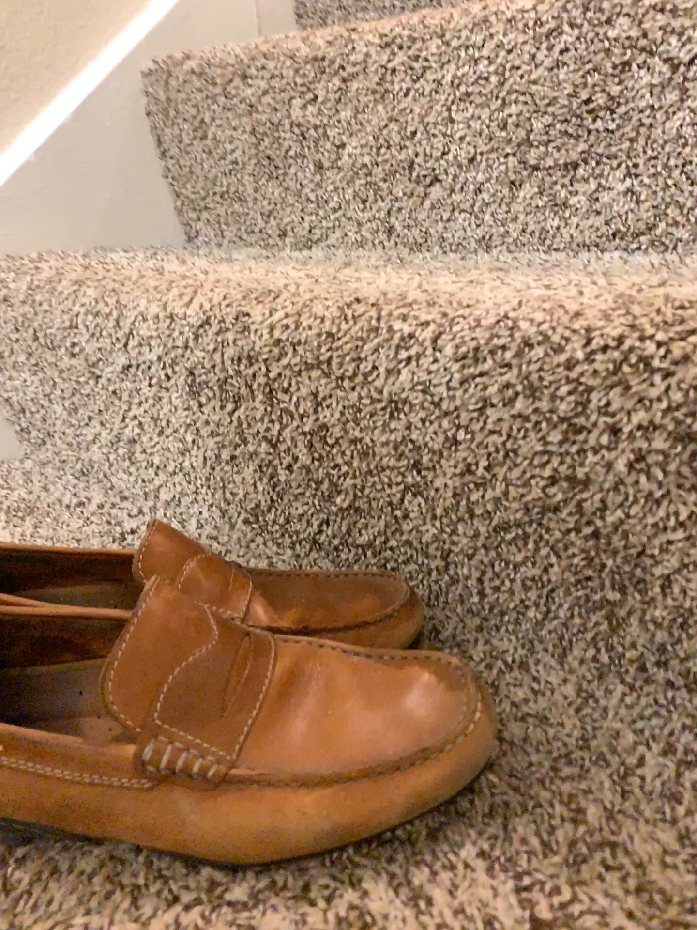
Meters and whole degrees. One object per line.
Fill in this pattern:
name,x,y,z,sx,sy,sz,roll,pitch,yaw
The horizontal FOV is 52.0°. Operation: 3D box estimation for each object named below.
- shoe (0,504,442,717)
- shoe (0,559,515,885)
shoe,-0.095,0.071,0.377,0.280,0.070,0.090,0,20,4
shoe,-0.079,0.102,0.319,0.280,0.070,0.120,0,20,4
